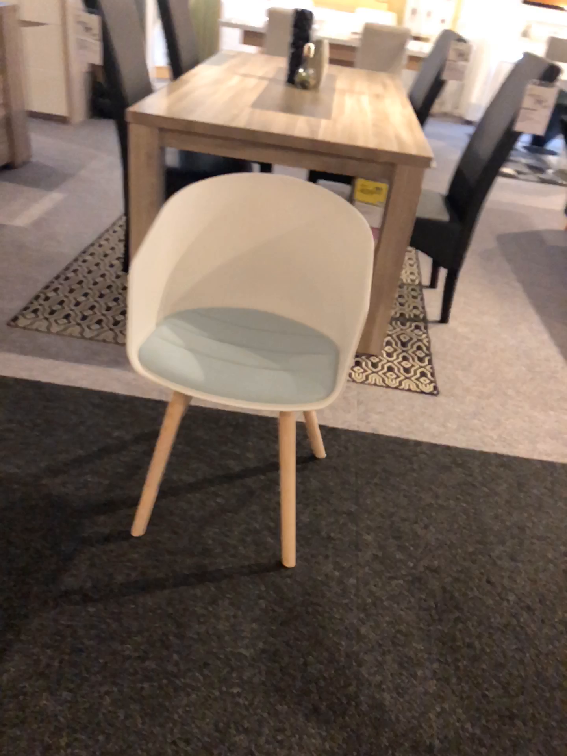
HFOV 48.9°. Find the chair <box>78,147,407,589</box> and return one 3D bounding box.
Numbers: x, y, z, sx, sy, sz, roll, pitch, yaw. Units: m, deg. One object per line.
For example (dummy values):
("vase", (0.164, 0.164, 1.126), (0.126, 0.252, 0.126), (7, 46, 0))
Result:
("chair", (-0.072, -0.043, 1.473), (0.550, 0.765, 0.584), (10, 33, 4))
